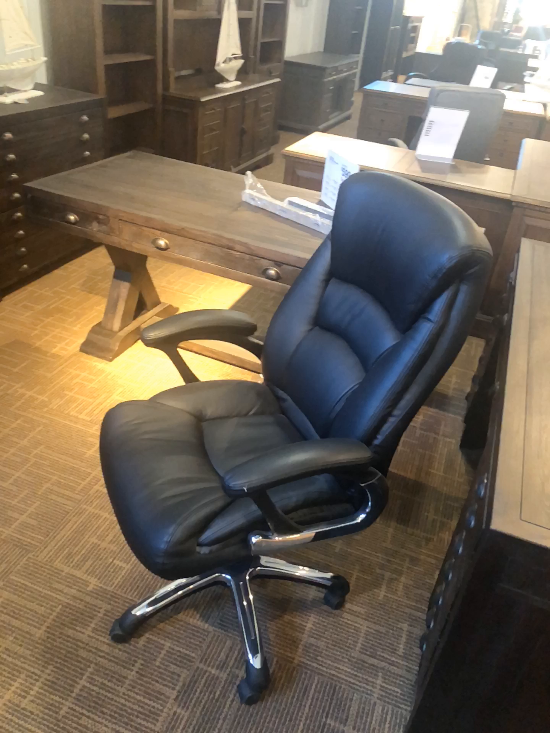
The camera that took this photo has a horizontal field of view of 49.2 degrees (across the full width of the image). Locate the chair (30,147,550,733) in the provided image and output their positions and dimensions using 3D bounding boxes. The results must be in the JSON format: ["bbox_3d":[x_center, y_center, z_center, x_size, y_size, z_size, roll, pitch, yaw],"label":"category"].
[{"bbox_3d":[-0.068,0.144,1.429,0.769,1.118,0.704,-9,35,-24],"label":"chair"}]
